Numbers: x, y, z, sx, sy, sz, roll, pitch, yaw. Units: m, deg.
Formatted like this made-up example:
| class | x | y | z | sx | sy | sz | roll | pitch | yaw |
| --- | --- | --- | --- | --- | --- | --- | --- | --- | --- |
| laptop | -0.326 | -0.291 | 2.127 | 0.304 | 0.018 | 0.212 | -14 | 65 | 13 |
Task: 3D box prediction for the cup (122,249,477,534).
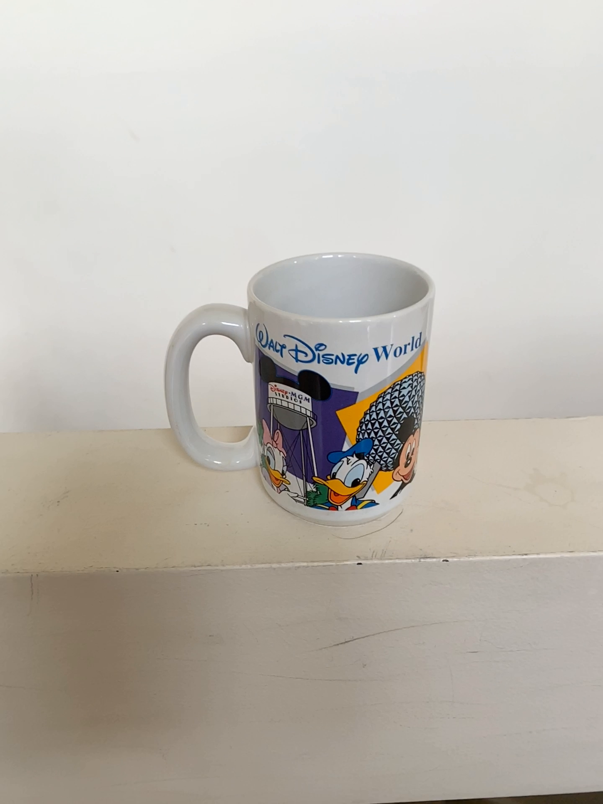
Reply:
| class | x | y | z | sx | sy | sz | roll | pitch | yaw |
| --- | --- | --- | --- | --- | --- | --- | --- | --- | --- |
| cup | 0.002 | -0.008 | 0.307 | 0.140 | 0.109 | 0.080 | 2 | 30 | 5 |
